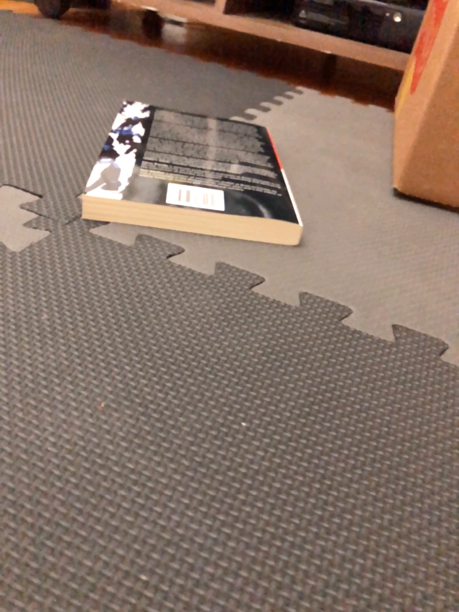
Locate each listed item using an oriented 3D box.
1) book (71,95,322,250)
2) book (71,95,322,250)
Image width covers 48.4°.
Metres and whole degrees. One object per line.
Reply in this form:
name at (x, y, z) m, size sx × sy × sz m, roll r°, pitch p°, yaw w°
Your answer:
book at (-0.025, -0.117, 0.403) m, size 0.150 × 0.020 × 0.231 m, roll 6°, pitch 34°, yaw -8°
book at (-0.025, -0.117, 0.403) m, size 0.150 × 0.020 × 0.231 m, roll 6°, pitch 34°, yaw -8°
